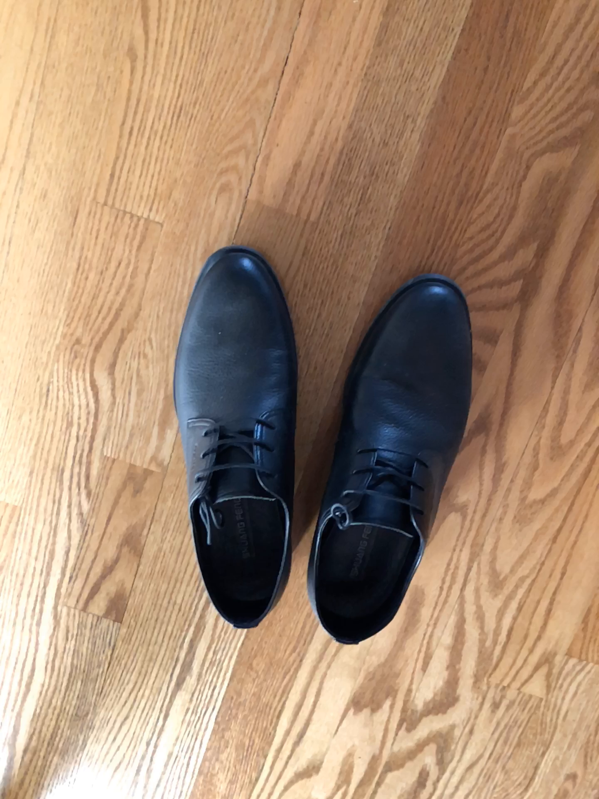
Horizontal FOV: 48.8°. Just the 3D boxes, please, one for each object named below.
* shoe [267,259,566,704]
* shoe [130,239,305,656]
[{"bbox_3d":[0.074,0.056,0.511,0.110,0.124,0.299,17,104,-2],"label":"shoe"},{"bbox_3d":[-0.052,0.030,0.522,0.110,0.124,0.304,0,104,2],"label":"shoe"}]
